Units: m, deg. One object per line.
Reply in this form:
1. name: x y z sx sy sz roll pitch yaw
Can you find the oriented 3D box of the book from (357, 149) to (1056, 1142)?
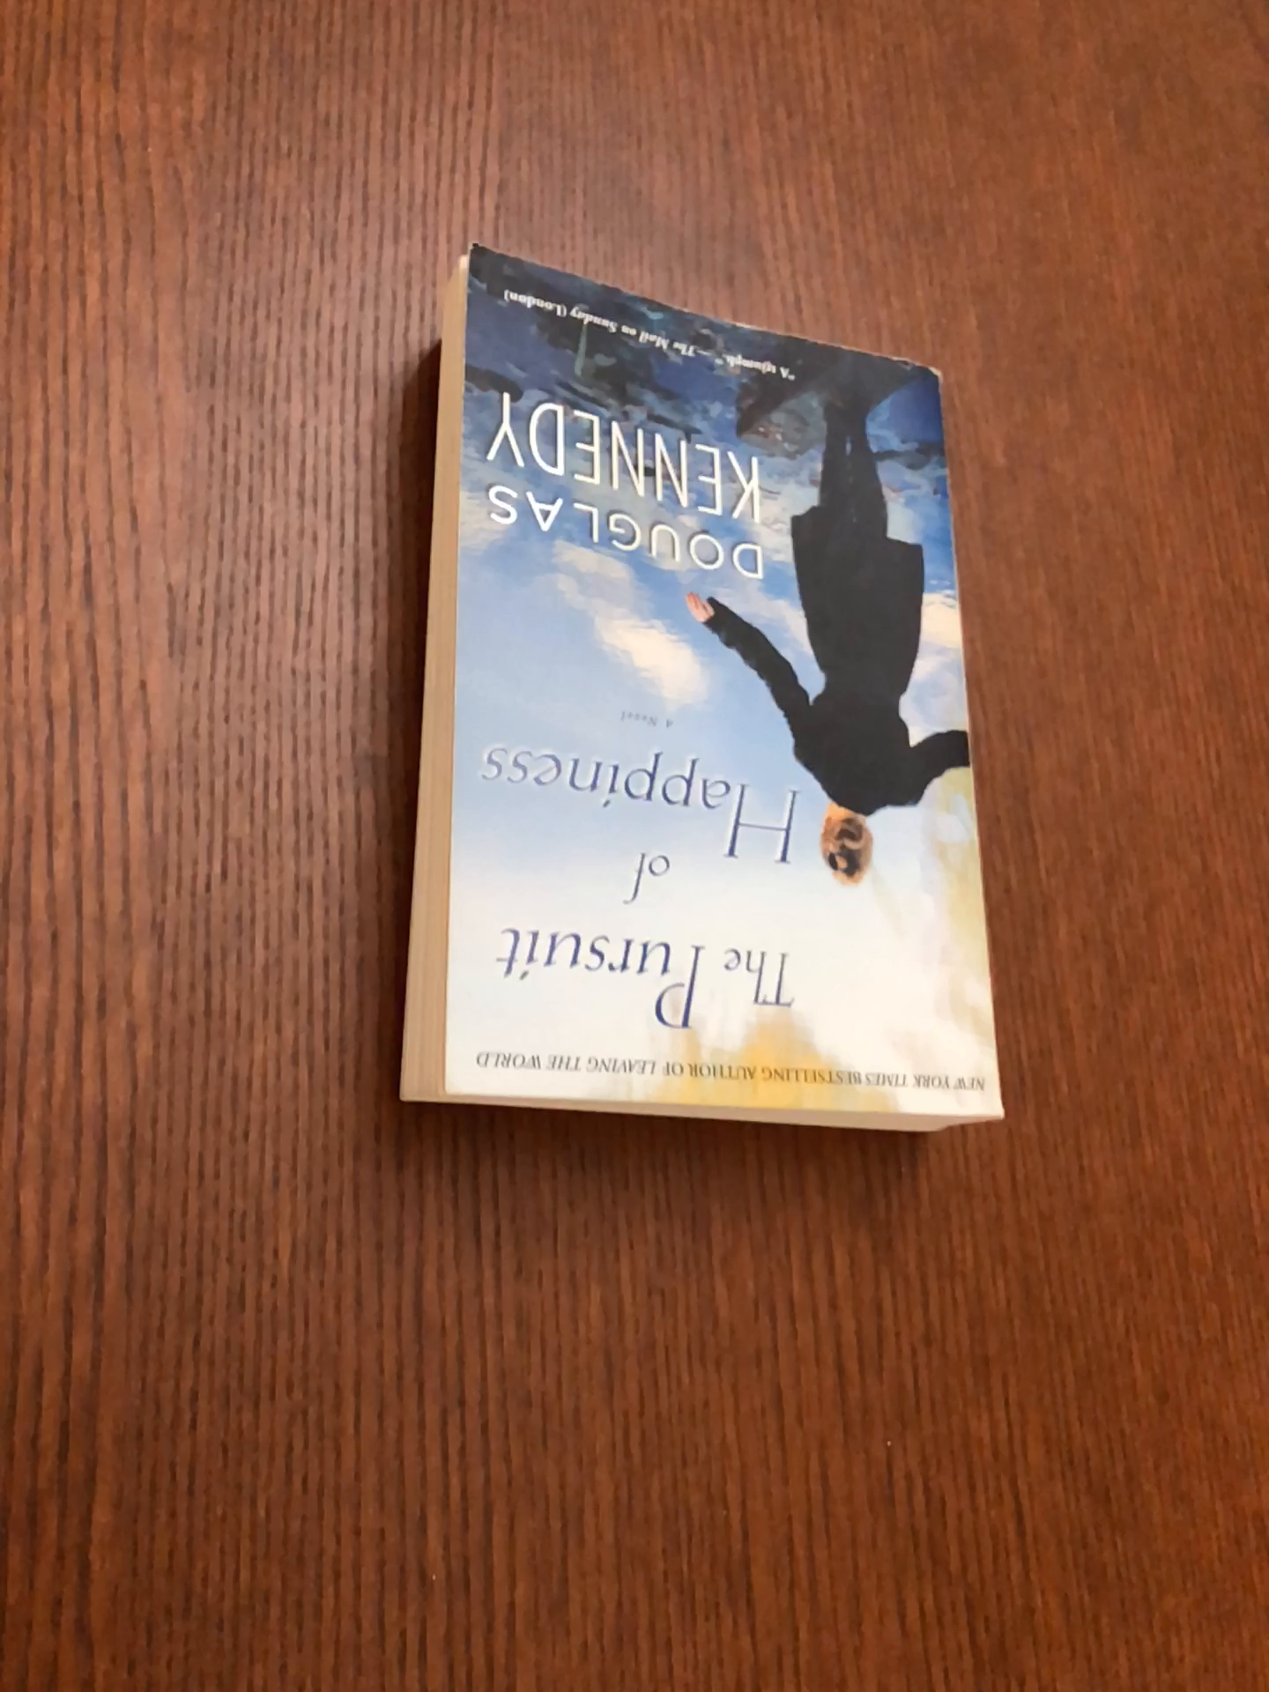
1. book: 0.018 -0.049 0.375 0.160 0.050 0.241 7 70 -21
